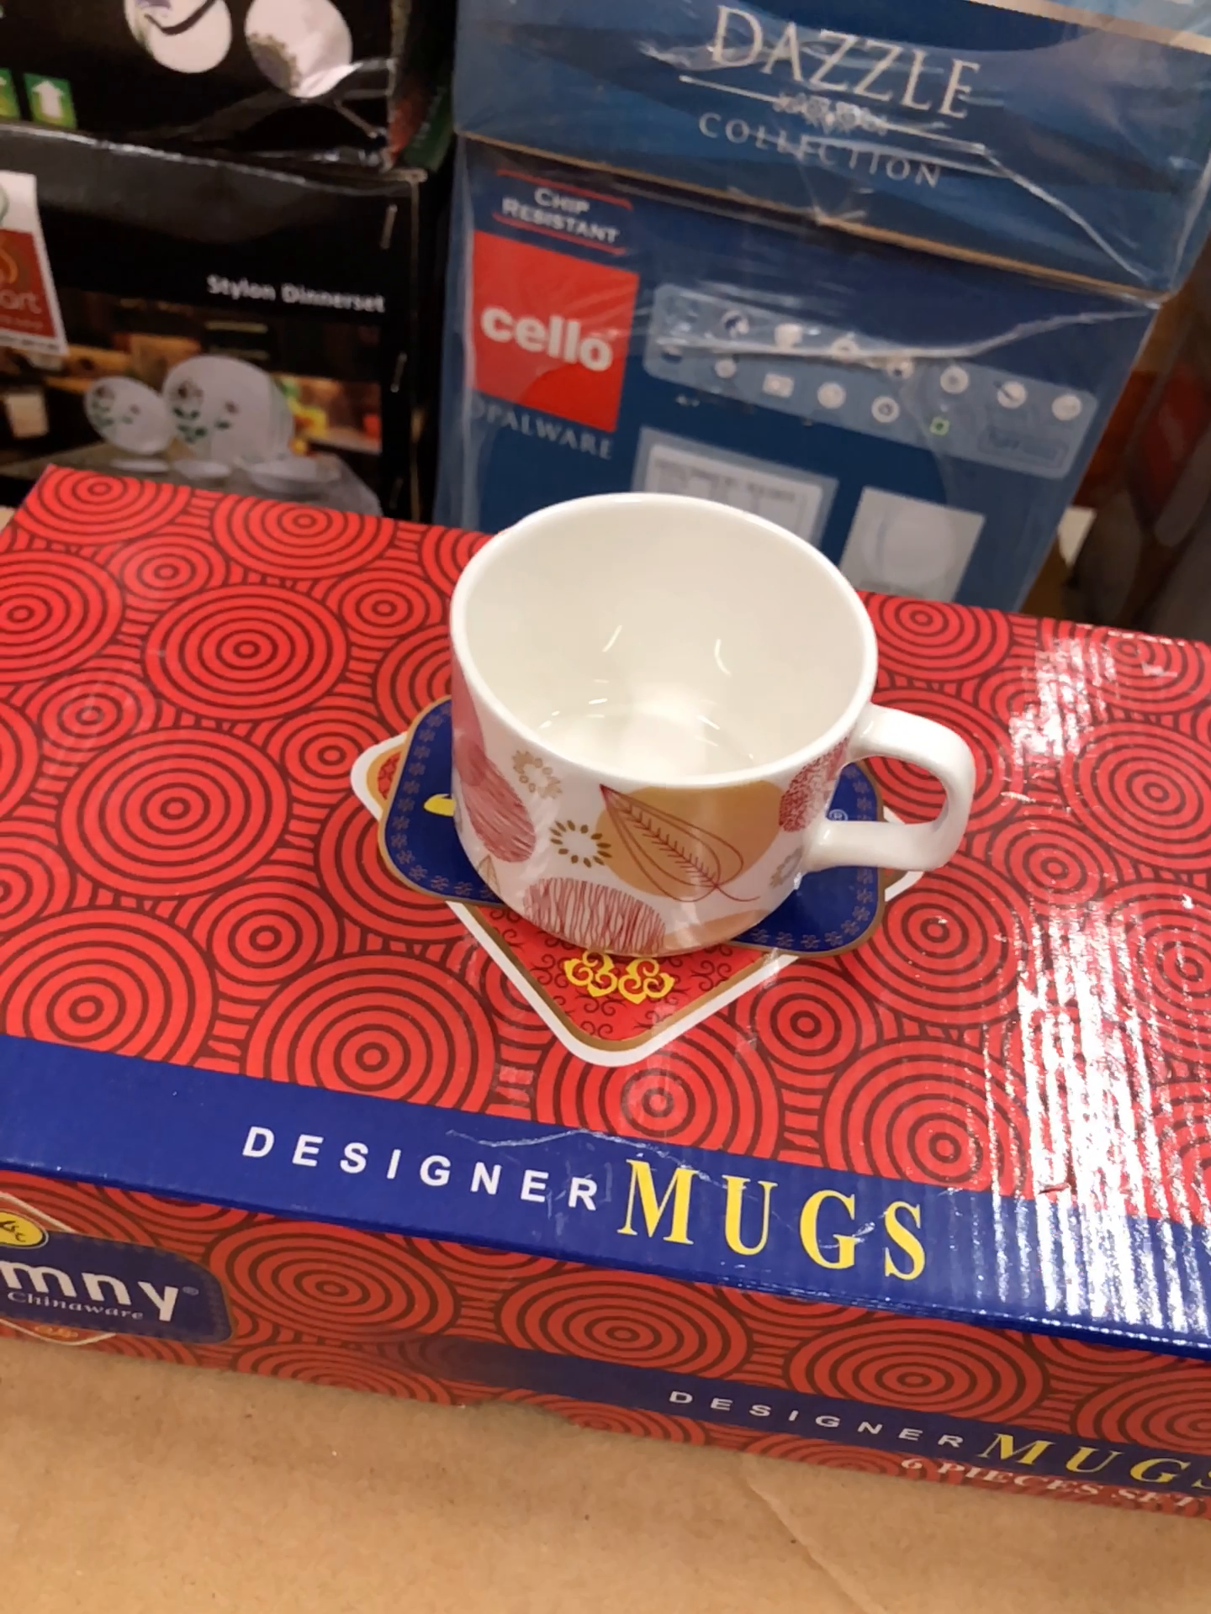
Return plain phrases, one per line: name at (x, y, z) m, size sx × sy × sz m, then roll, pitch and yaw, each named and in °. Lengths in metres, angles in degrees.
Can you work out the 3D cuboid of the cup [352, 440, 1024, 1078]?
cup at (0.014, -0.009, 0.219) m, size 0.090 × 0.050 × 0.070 m, roll 13°, pitch 48°, yaw 3°
